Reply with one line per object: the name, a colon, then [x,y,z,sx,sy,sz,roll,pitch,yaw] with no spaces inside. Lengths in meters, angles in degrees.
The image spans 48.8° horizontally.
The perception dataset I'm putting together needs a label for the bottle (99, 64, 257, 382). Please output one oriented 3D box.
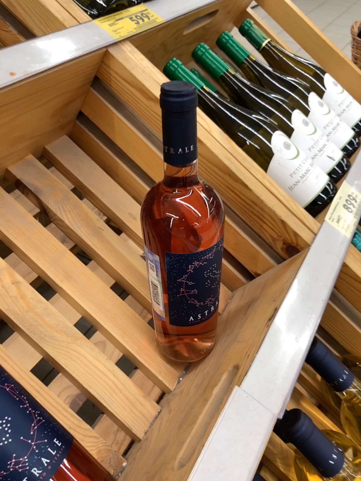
bottle: [0.001,0.003,0.374,0.080,0.288,0.080,-1,39,0]
